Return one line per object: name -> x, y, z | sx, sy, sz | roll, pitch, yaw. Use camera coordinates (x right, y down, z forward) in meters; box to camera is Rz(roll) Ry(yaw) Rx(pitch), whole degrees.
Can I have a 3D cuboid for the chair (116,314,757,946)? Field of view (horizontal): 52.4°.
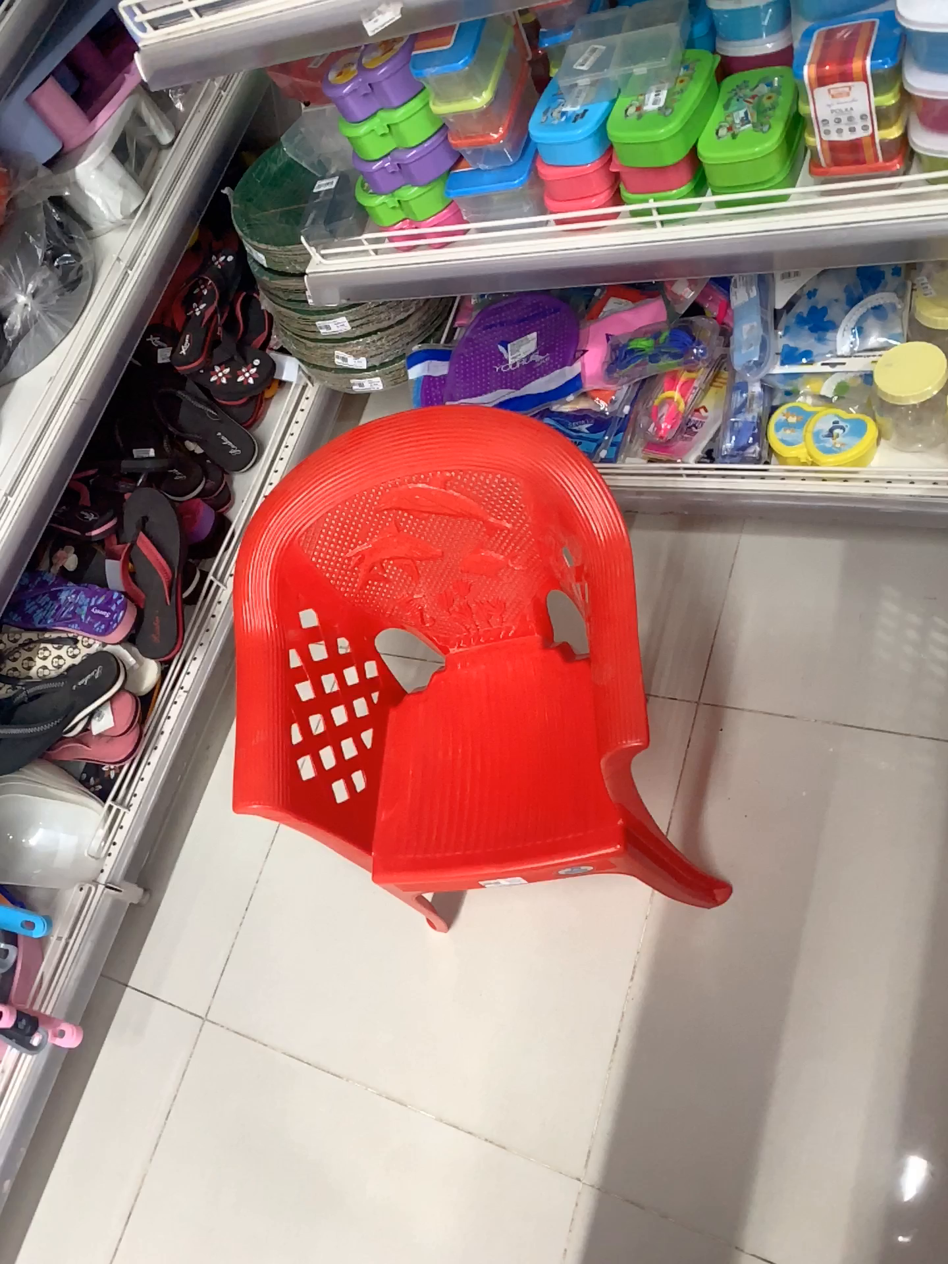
chair -> 0.000, 0.055, 1.104 | 0.501, 0.478, 0.490 | -11, 60, 22
